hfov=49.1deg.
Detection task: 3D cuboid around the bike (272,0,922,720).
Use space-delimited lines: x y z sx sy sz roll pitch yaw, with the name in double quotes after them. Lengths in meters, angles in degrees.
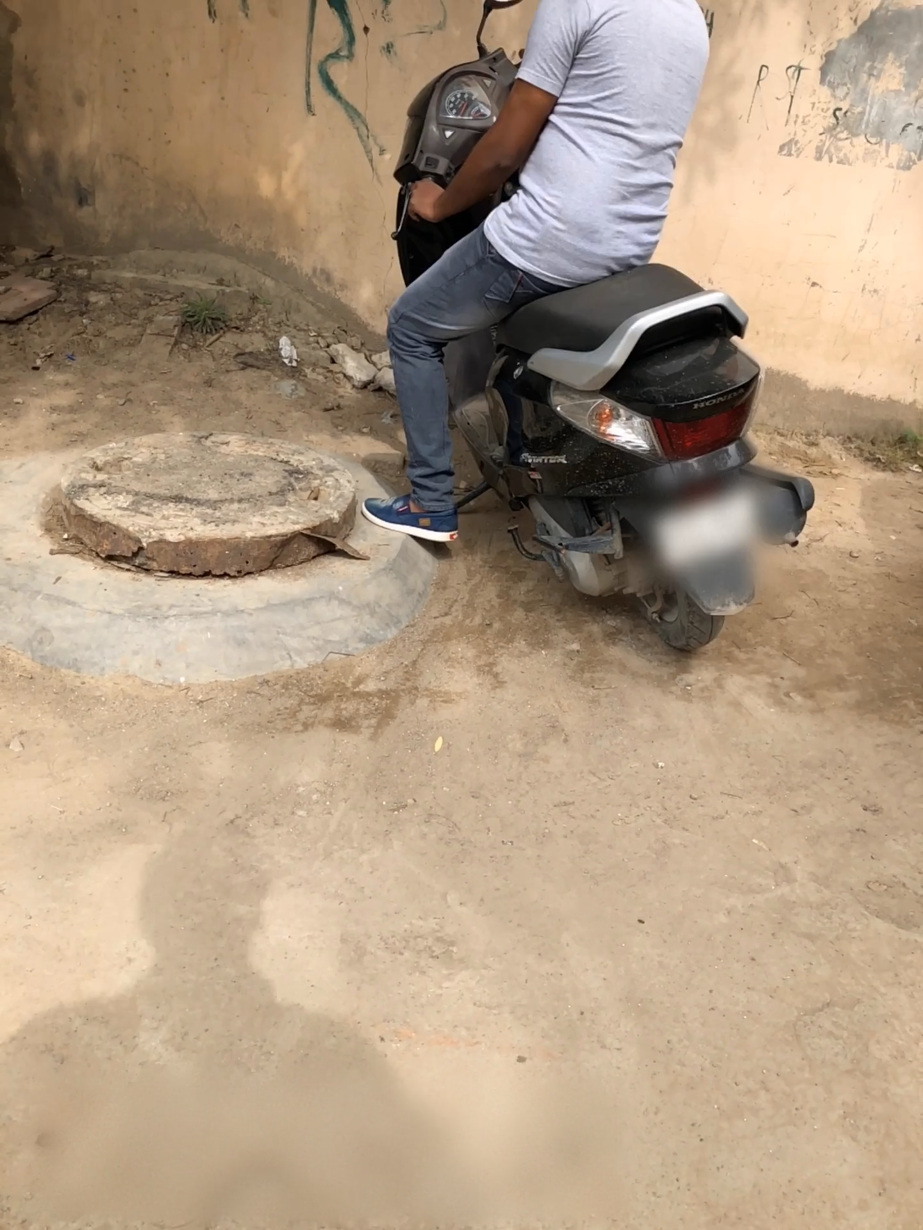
0.099 -0.784 2.545 0.653 1.228 1.657 -7 33 -26 "bike"
